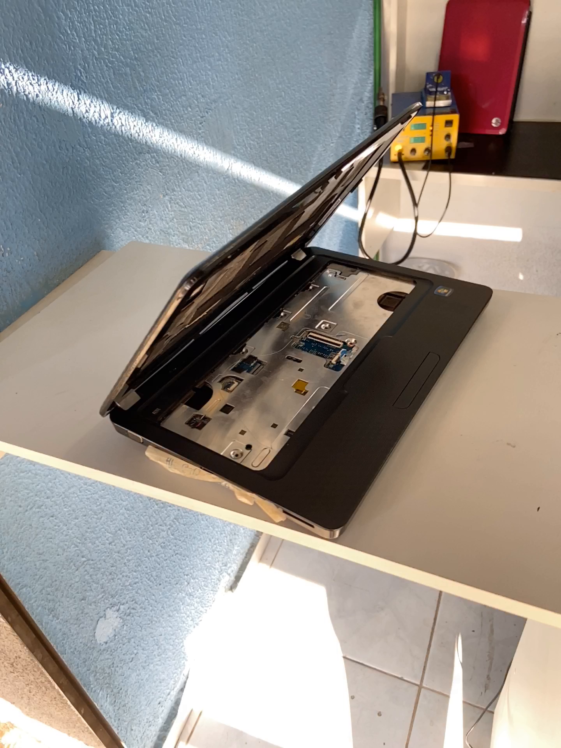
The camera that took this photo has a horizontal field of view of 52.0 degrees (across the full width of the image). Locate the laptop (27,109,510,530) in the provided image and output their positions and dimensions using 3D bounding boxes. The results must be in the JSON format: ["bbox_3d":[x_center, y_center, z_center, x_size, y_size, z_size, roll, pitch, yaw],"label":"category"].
[{"bbox_3d":[0.021,-0.085,0.479,0.222,0.153,0.328,19,45,28],"label":"laptop"}]
